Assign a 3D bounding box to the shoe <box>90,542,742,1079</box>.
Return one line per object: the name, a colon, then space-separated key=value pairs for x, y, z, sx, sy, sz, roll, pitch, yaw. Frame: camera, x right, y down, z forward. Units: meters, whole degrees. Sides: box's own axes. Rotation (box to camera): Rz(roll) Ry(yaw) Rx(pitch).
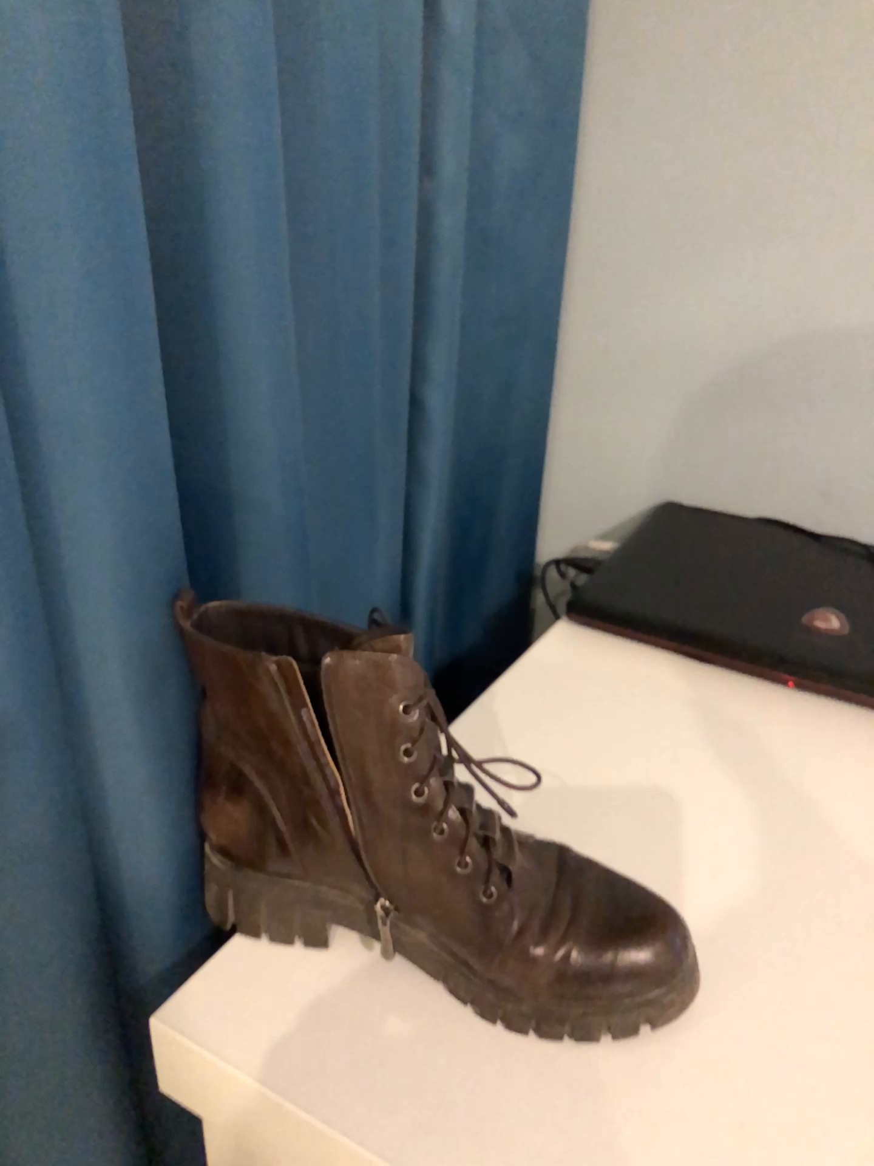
shoe: x=-0.009 y=0.096 z=0.462 sx=0.270 sy=0.169 sz=0.101 roll=9 pitch=27 yaw=17
